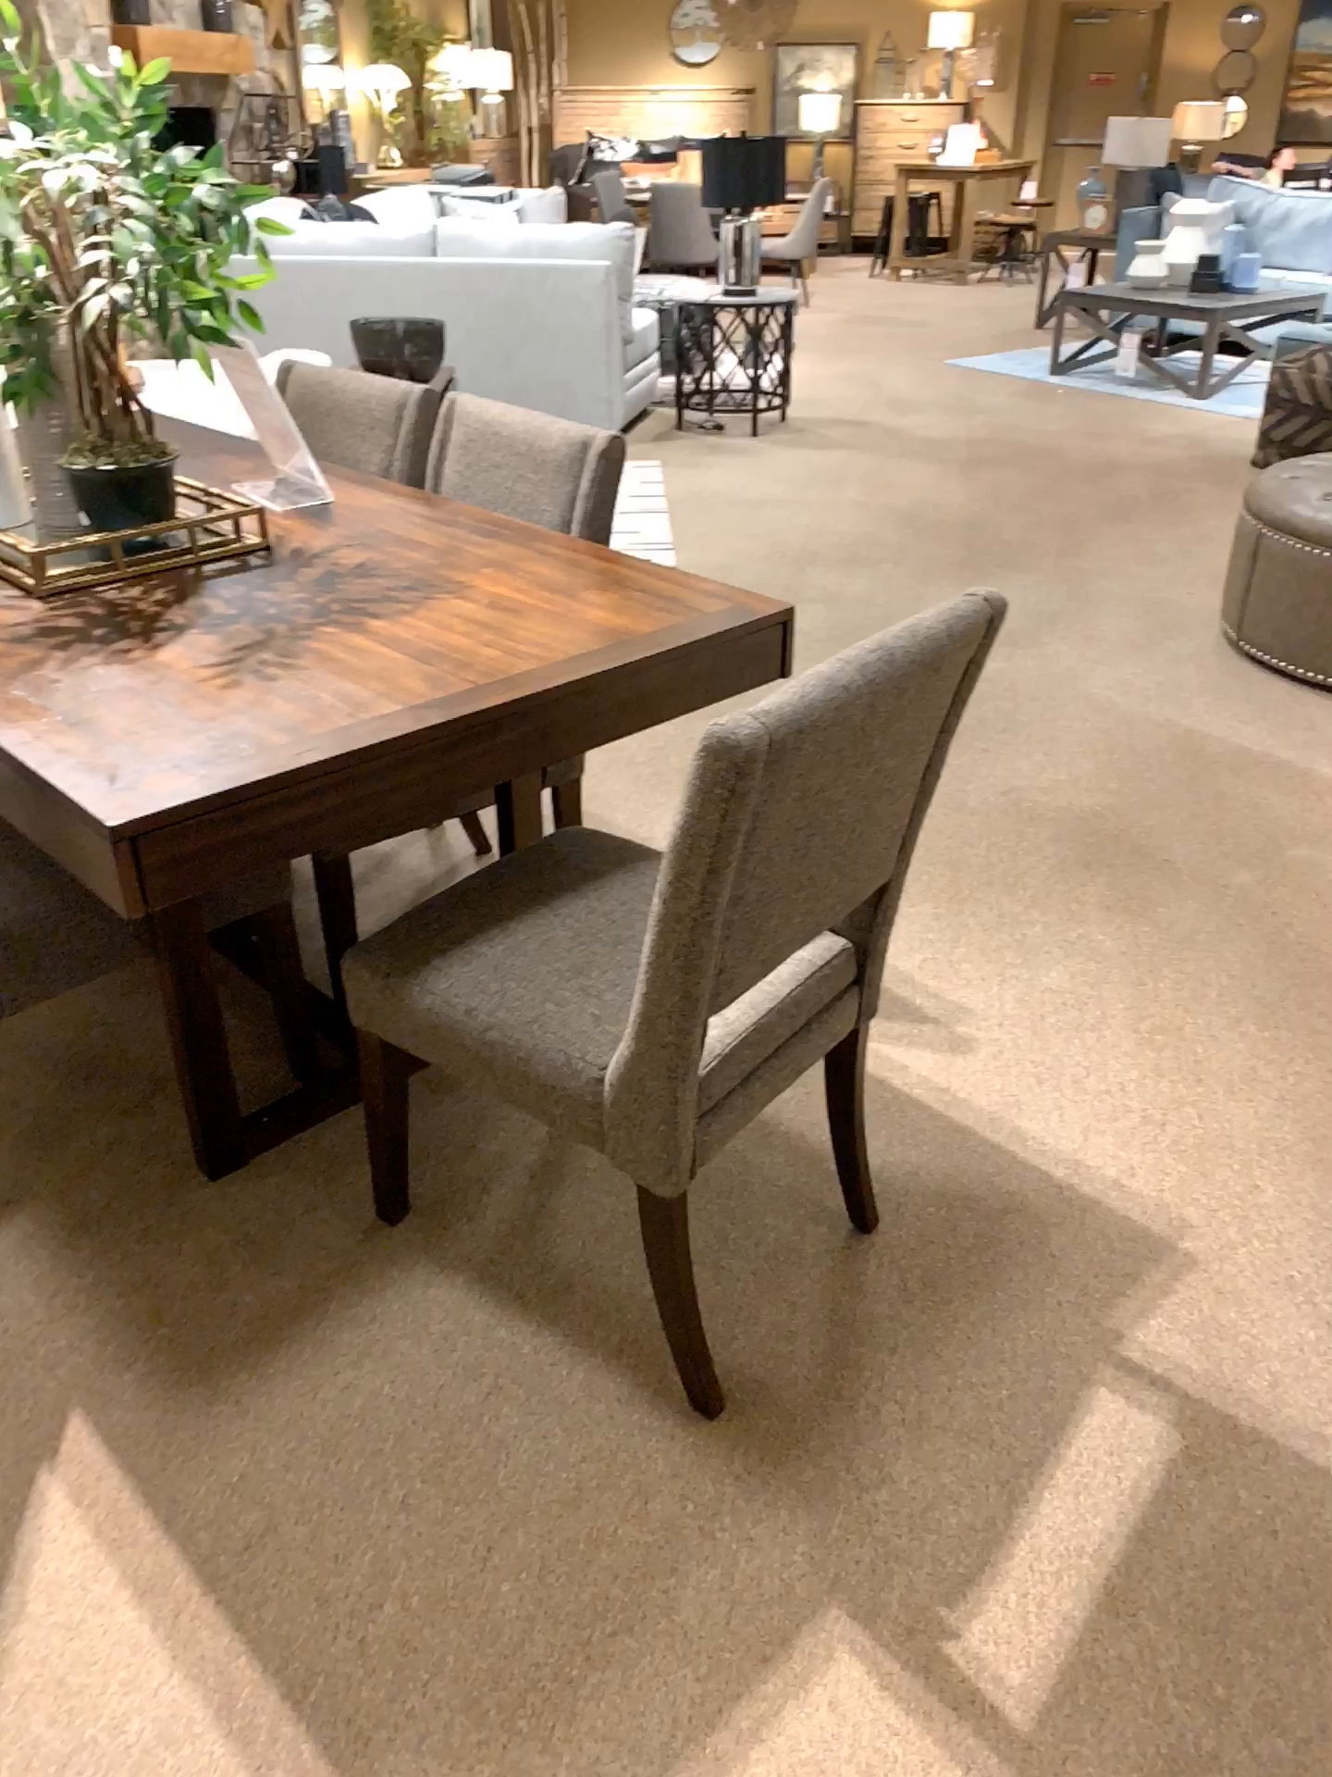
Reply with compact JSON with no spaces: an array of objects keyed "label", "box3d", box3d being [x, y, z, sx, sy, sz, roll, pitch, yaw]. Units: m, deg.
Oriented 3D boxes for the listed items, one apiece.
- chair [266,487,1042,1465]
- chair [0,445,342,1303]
[{"label":"chair","box3d":[-0.016,0.059,1.595,0.632,0.863,0.481,21,36,32]},{"label":"chair","box3d":[-0.882,-0.061,1.802,0.481,0.863,0.632,26,38,37]}]
